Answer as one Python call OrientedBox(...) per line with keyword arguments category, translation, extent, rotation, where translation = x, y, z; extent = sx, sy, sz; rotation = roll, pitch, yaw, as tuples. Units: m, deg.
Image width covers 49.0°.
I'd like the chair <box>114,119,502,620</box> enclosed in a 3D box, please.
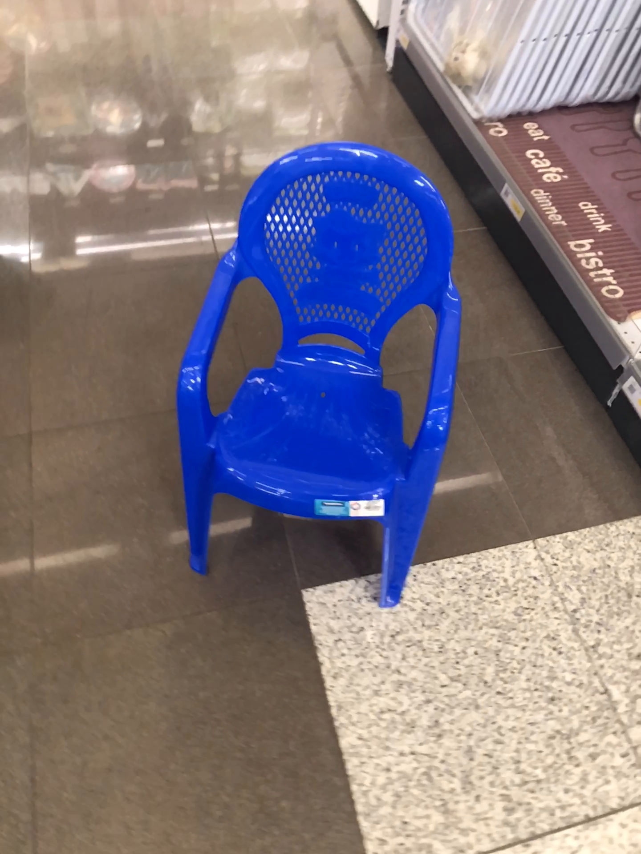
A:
OrientedBox(category="chair", translation=(0.004, -0.057, 0.973), extent=(0.350, 0.507, 0.403), rotation=(11, 53, 5))
